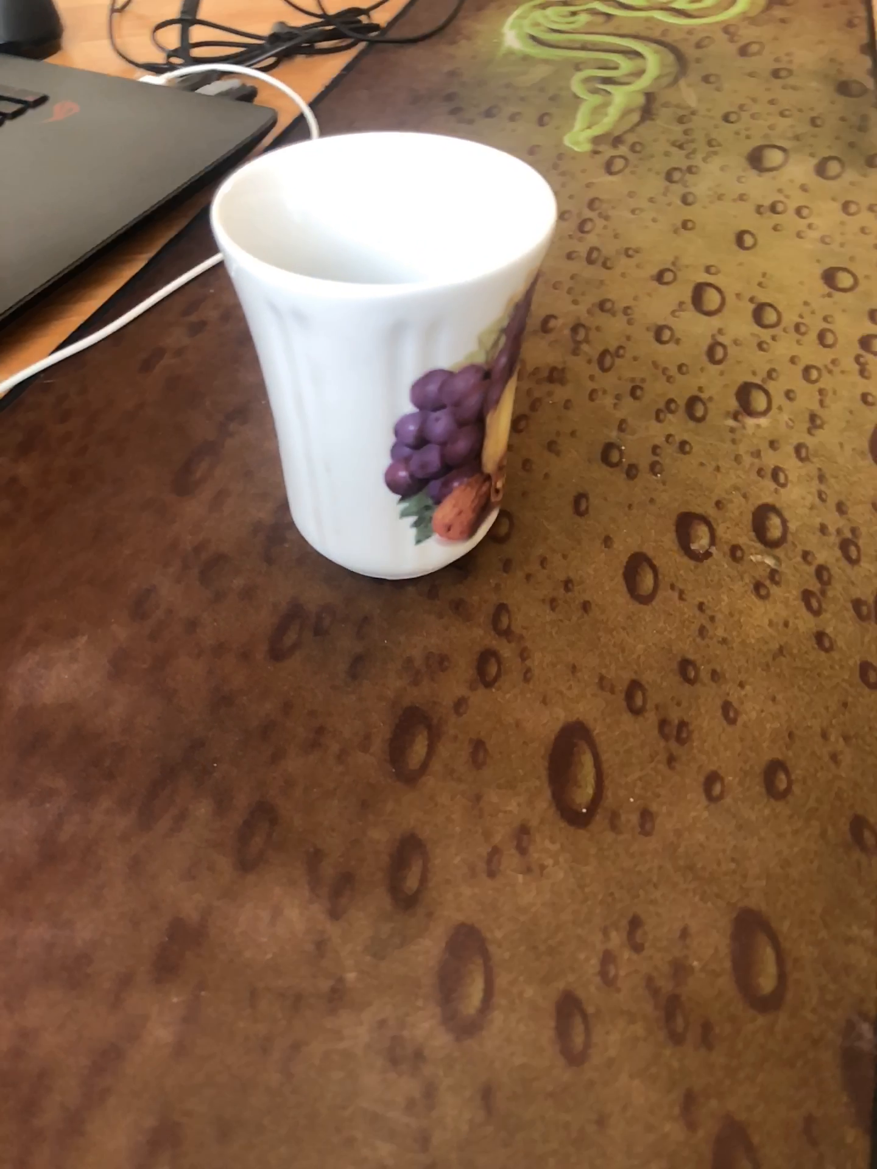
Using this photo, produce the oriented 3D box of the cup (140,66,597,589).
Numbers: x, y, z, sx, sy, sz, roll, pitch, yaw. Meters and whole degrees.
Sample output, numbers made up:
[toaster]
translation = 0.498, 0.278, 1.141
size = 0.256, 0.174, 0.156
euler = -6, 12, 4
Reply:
[cup]
translation = -0.008, -0.067, 0.242
size = 0.080, 0.080, 0.100
euler = 7, 46, 7
